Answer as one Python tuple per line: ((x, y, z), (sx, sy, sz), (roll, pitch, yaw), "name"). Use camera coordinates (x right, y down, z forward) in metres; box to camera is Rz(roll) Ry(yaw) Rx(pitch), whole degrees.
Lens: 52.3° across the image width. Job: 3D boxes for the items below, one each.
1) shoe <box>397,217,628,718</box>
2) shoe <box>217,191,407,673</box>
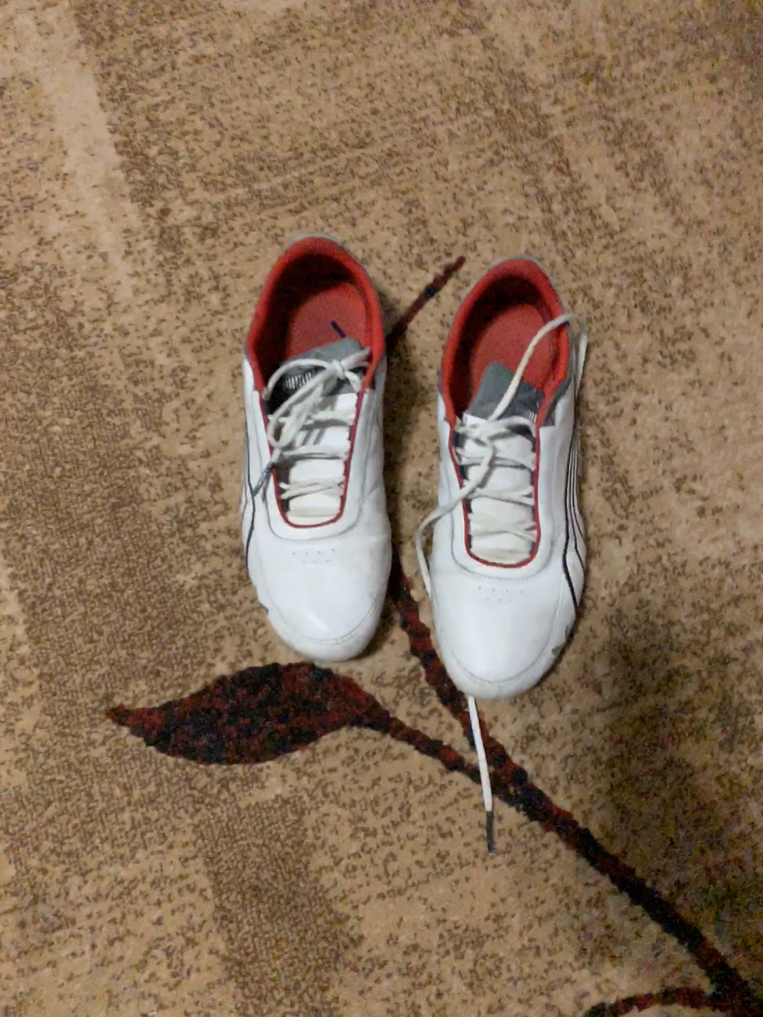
((0.078, -0.027, 0.464), (0.103, 0.070, 0.281), (7, 75, 4), "shoe")
((-0.043, -0.048, 0.475), (0.099, 0.070, 0.281), (-4, 75, 2), "shoe")
